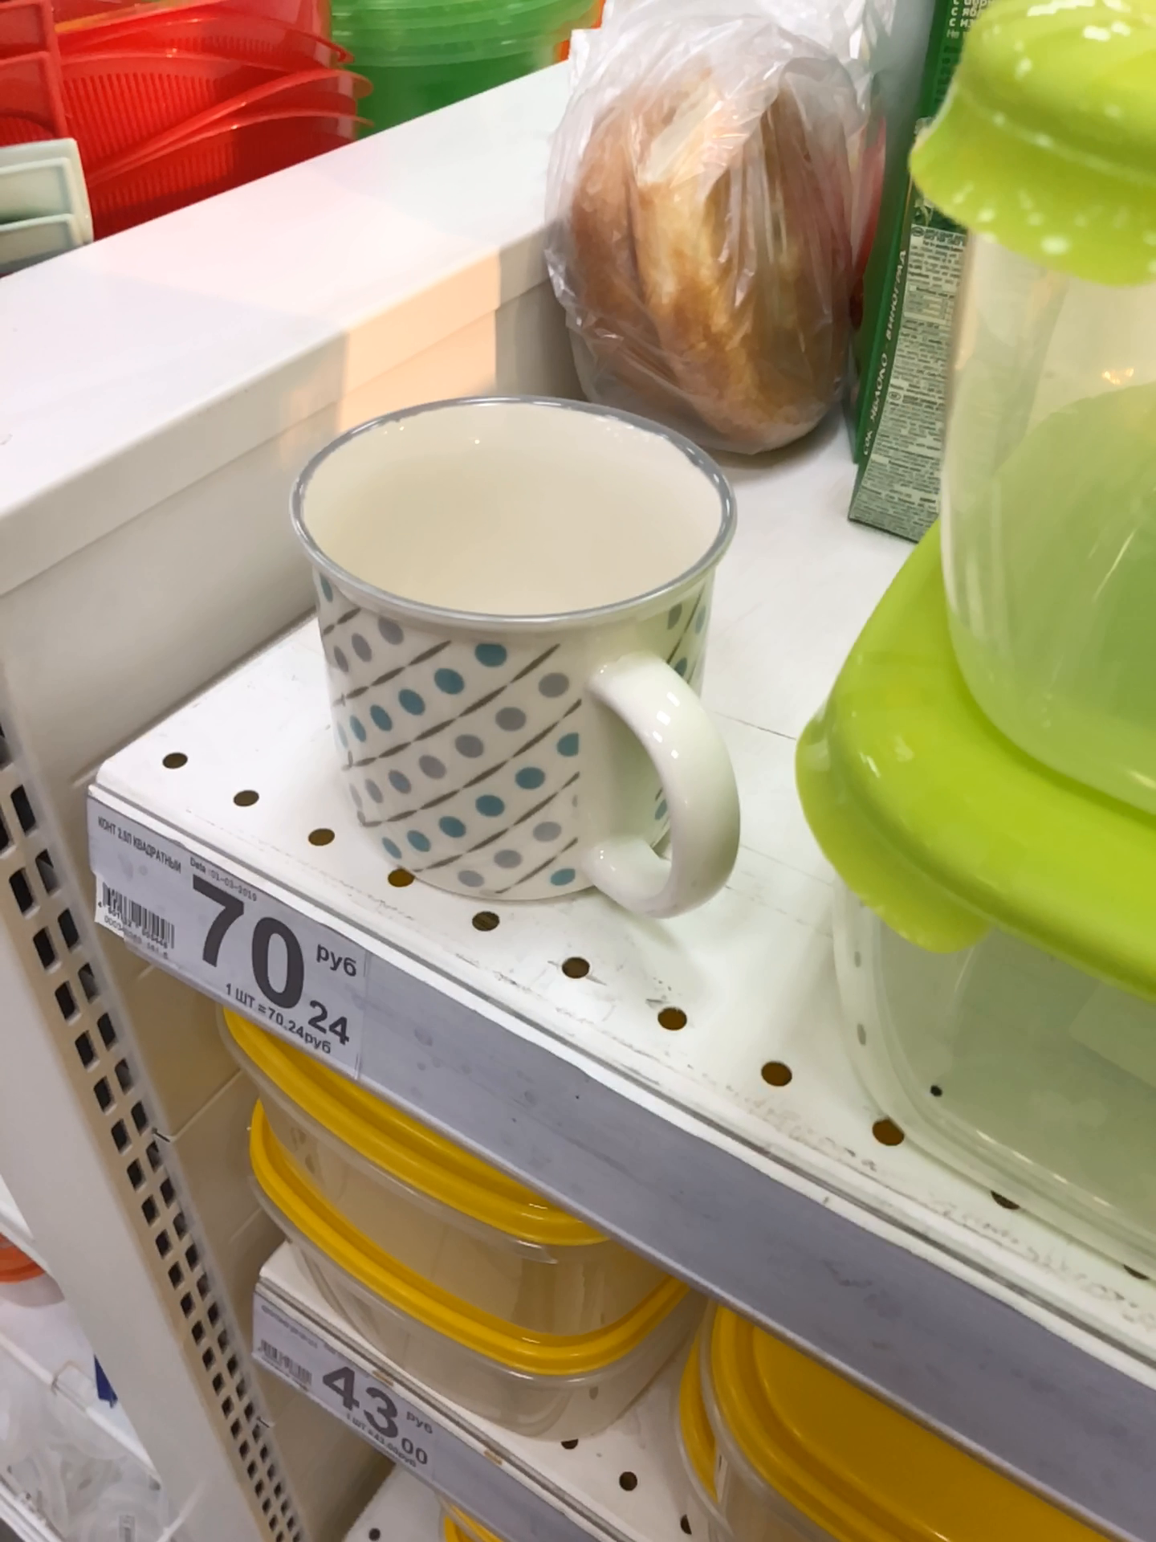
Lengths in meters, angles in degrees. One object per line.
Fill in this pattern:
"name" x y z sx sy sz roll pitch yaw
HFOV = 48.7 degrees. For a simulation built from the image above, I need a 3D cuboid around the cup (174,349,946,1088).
"cup" -0.008 -0.021 0.285 0.096 0.082 0.128 -30 50 -30
